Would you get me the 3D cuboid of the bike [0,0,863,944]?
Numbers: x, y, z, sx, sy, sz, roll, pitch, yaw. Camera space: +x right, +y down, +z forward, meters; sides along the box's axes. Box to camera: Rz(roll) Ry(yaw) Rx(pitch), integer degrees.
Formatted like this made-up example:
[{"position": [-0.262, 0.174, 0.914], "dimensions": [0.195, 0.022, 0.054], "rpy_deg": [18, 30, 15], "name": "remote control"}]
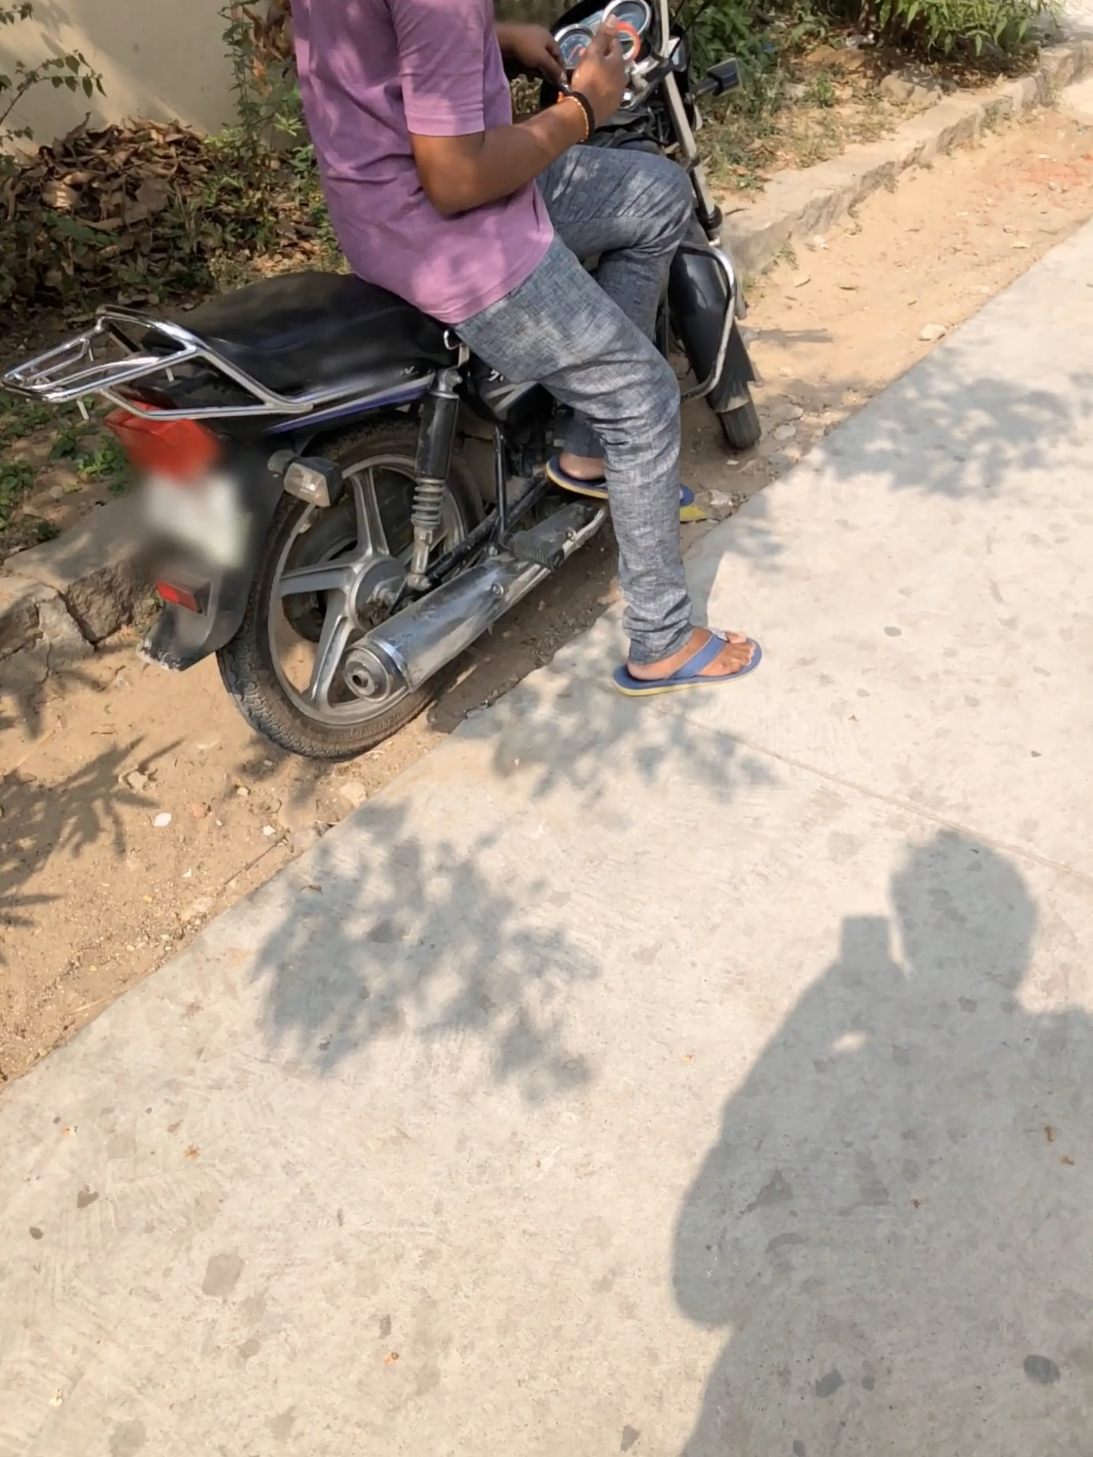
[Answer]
[{"position": [-0.117, -0.830, 2.335], "dimensions": [0.770, 1.294, 1.769], "rpy_deg": [19, 50, 23], "name": "bike"}]
